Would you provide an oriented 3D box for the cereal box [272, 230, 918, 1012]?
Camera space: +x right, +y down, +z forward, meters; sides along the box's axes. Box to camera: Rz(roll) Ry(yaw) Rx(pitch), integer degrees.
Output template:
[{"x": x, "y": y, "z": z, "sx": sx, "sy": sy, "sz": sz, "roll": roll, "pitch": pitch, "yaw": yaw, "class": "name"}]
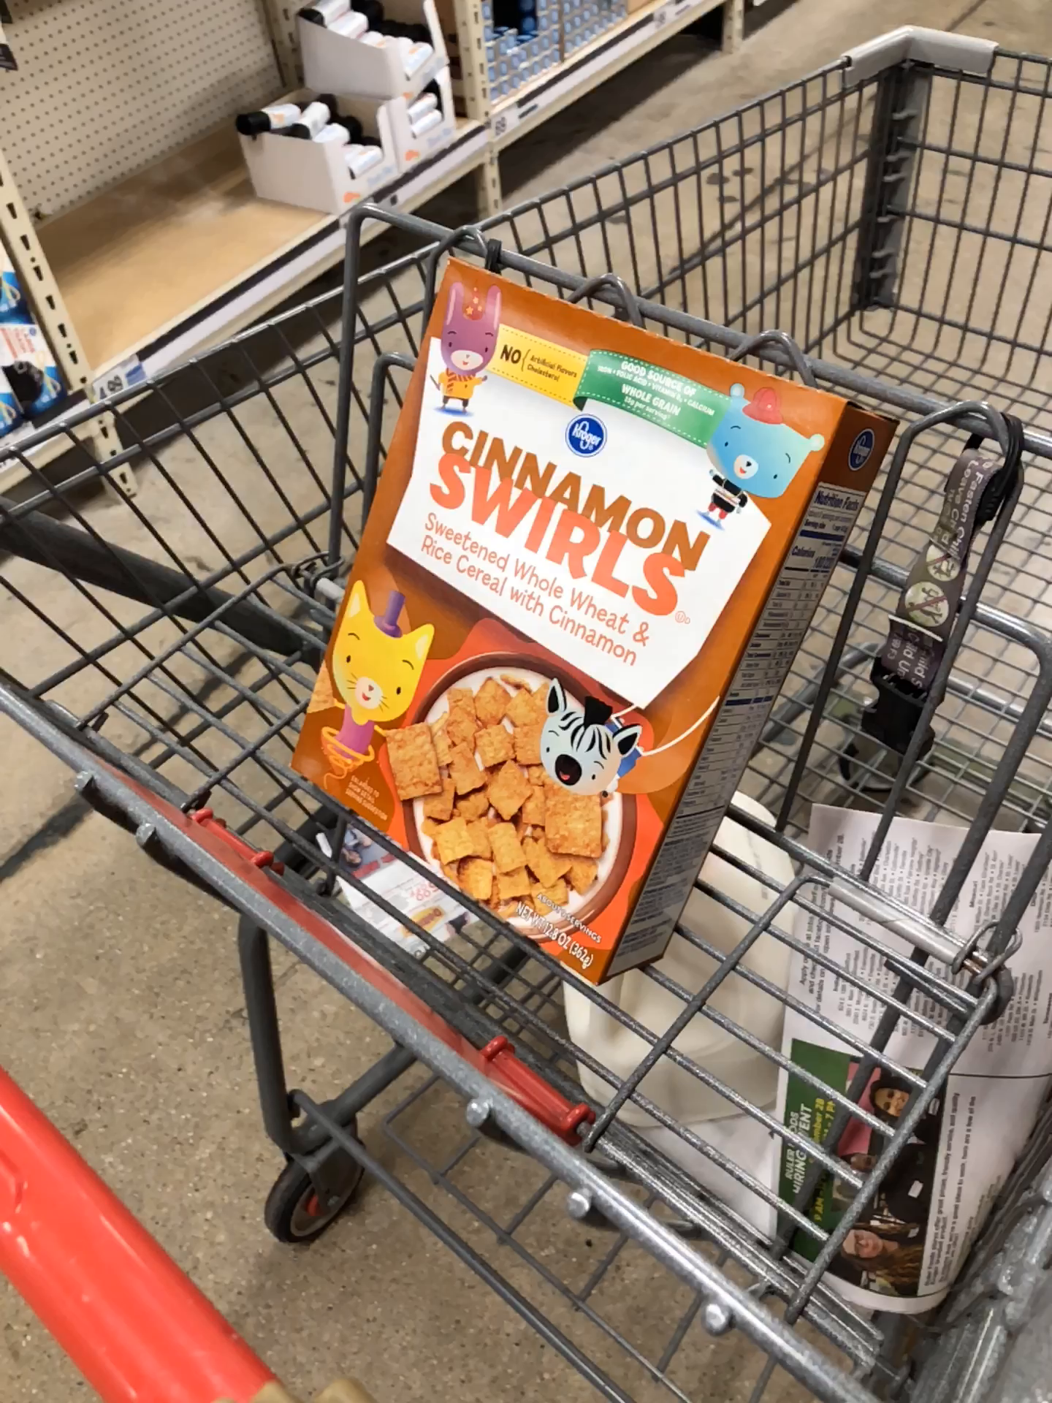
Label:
[{"x": 0.010, "y": -0.039, "z": 0.501, "sx": 0.210, "sy": 0.260, "sz": 0.050, "roll": 31, "pitch": 20, "yaw": 31, "class": "cereal box"}]
